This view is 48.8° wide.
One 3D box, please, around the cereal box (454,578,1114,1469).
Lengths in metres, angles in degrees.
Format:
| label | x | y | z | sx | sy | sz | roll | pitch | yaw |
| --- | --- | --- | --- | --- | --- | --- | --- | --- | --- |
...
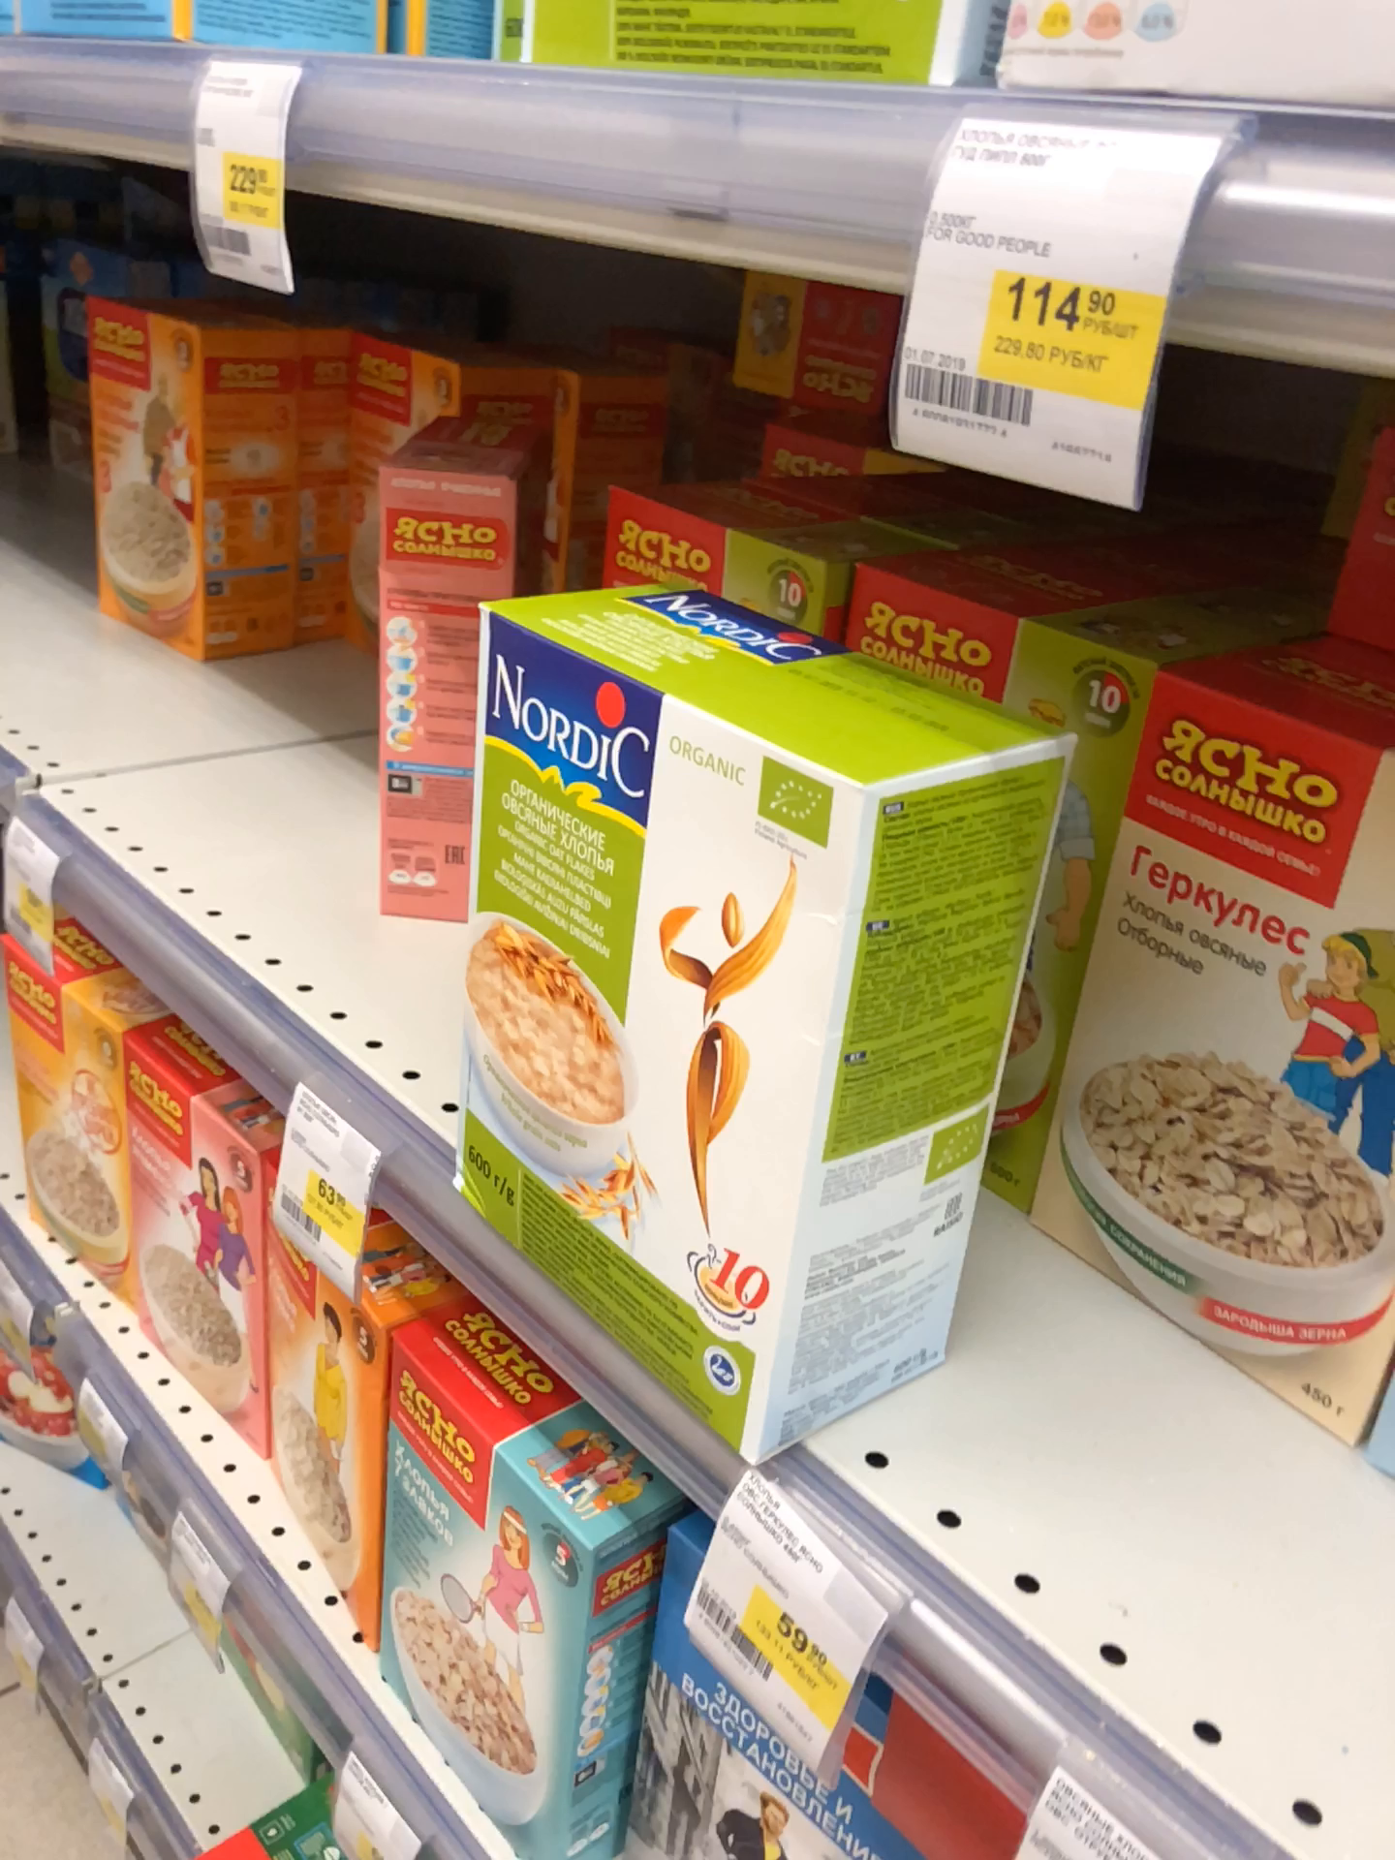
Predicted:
| label | x | y | z | sx | sy | sz | roll | pitch | yaw |
| --- | --- | --- | --- | --- | --- | --- | --- | --- | --- |
| cereal box | 0.011 | 0.016 | 0.431 | 0.080 | 0.189 | 0.150 | -15 | 33 | -39 |
